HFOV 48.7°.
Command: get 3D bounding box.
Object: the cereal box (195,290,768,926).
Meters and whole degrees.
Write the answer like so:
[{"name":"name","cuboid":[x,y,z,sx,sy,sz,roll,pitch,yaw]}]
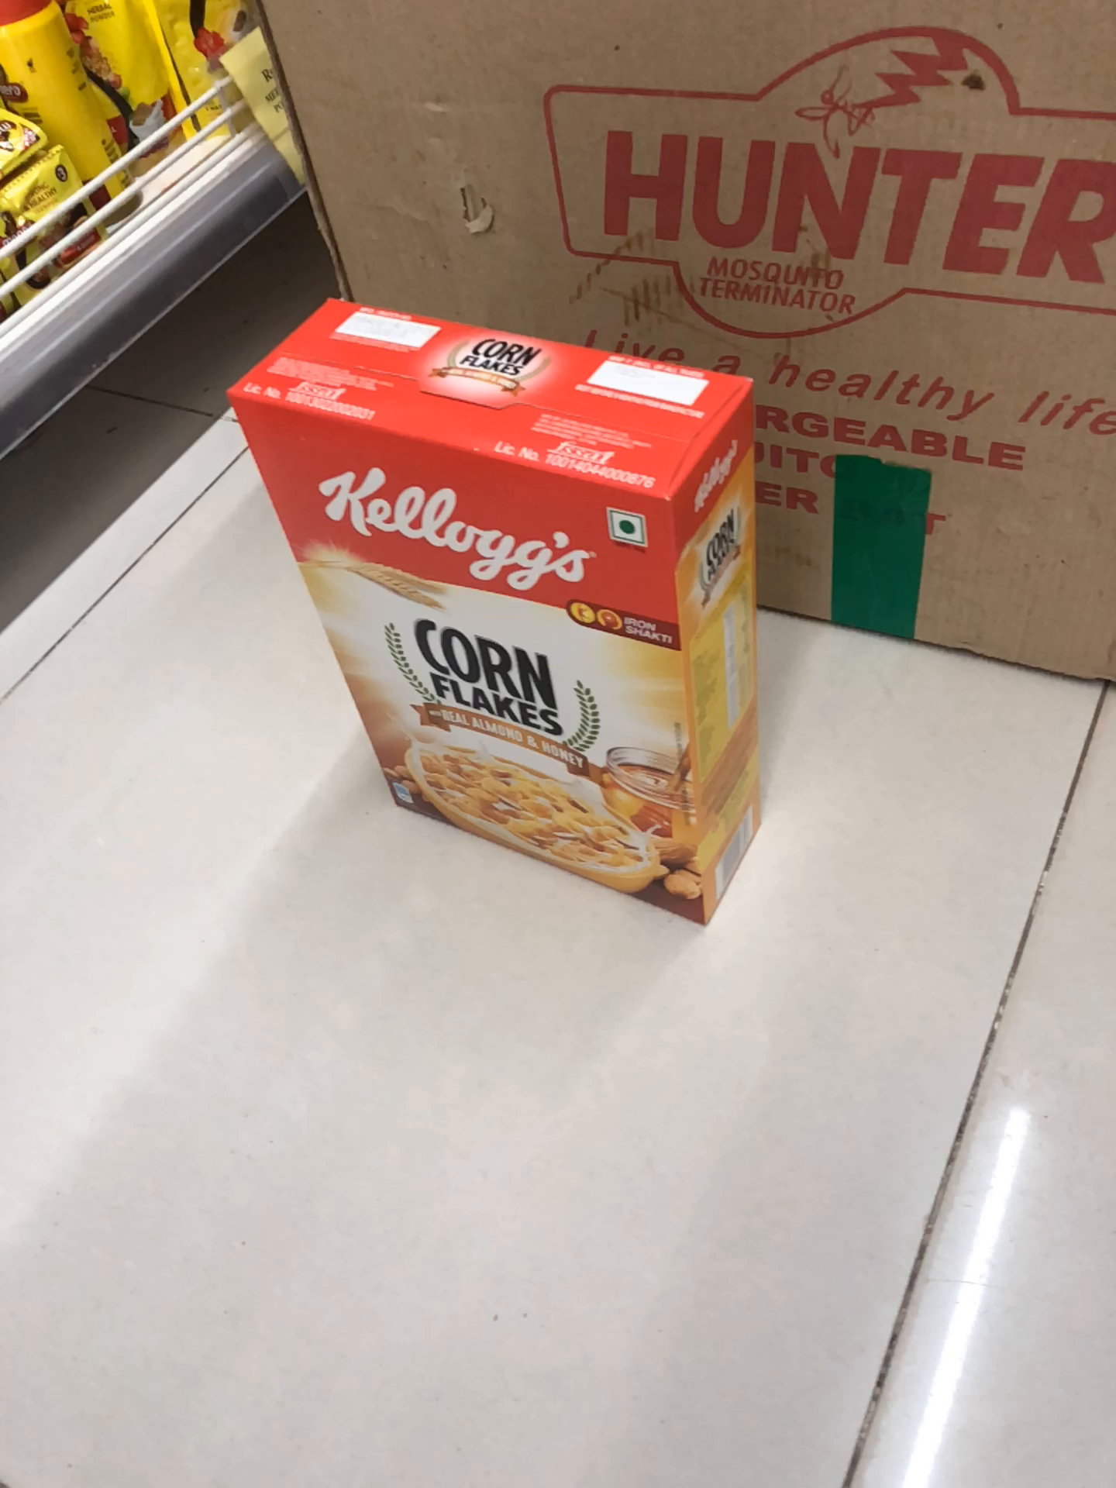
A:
[{"name":"cereal box","cuboid":[-0.016,-0.050,0.545,0.200,0.259,0.070,19,57,24]}]
